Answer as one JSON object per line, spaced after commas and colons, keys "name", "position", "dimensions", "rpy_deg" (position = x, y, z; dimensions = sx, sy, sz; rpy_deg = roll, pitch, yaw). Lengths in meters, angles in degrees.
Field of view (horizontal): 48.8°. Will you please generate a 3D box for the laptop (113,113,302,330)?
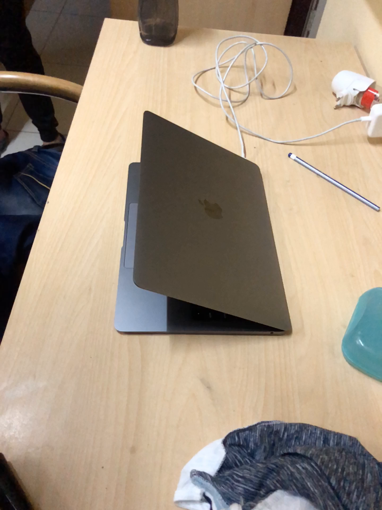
{"name": "laptop", "position": [0.010, -0.057, 0.557], "dimensions": [0.193, 0.094, 0.295], "rpy_deg": [1, 52, -3]}
